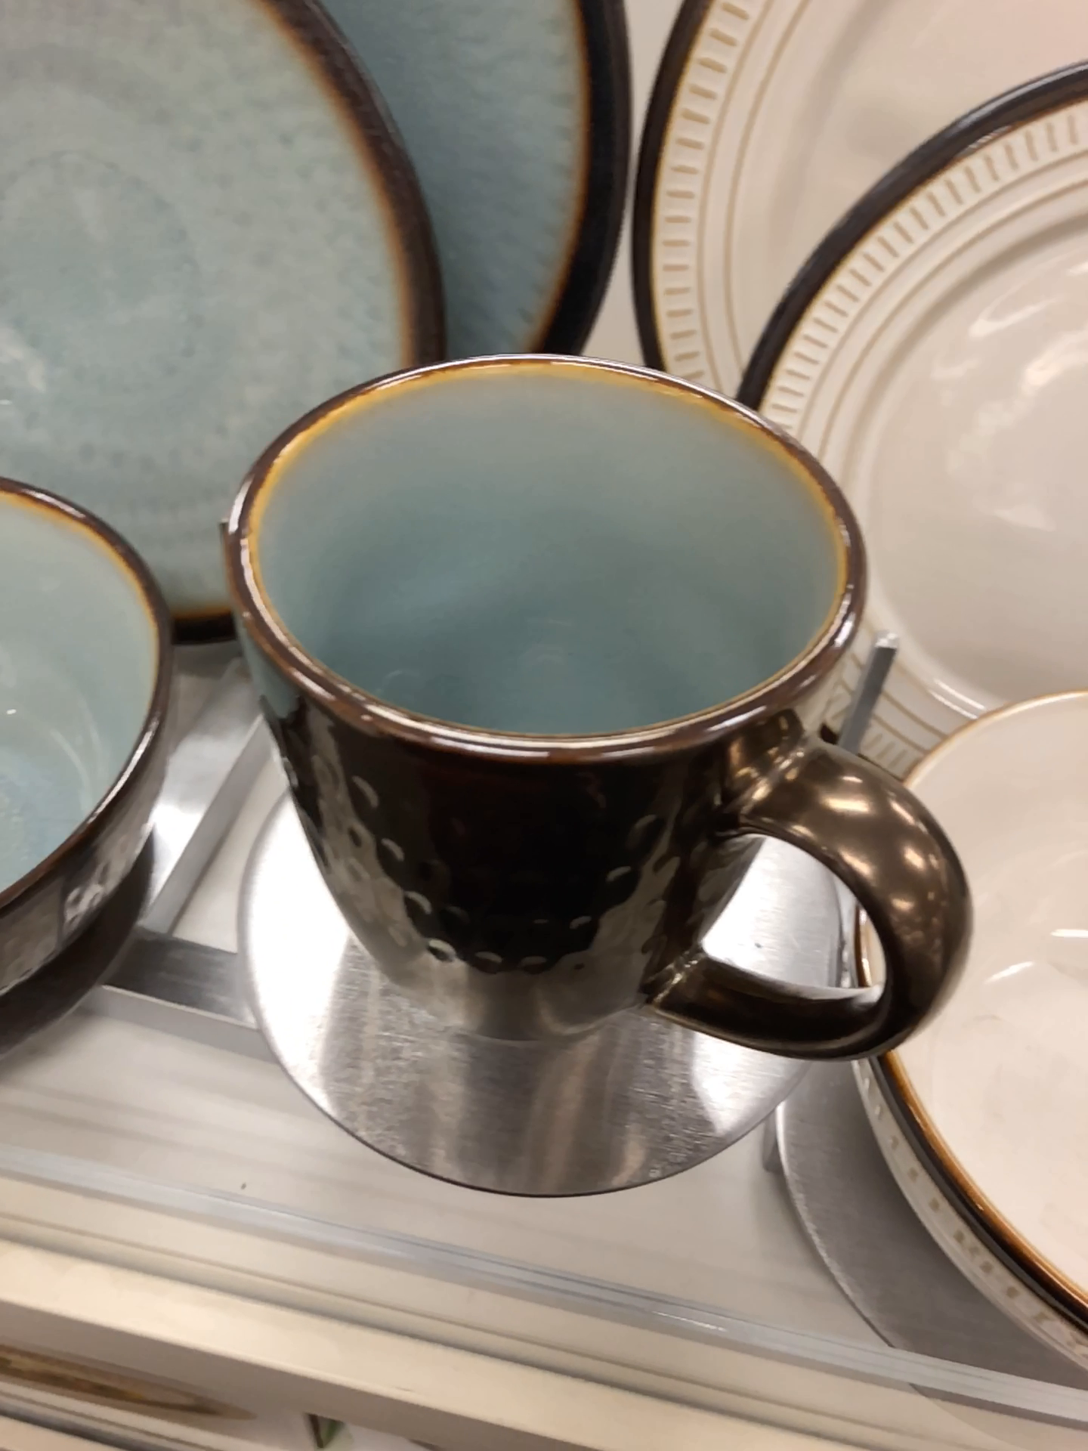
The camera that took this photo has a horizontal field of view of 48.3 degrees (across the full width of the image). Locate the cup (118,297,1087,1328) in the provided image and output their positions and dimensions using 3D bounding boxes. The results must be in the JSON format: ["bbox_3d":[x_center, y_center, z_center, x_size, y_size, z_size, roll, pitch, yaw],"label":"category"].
[{"bbox_3d":[0.010,0.012,0.203,0.117,0.100,0.083,34,55,23],"label":"cup"}]
